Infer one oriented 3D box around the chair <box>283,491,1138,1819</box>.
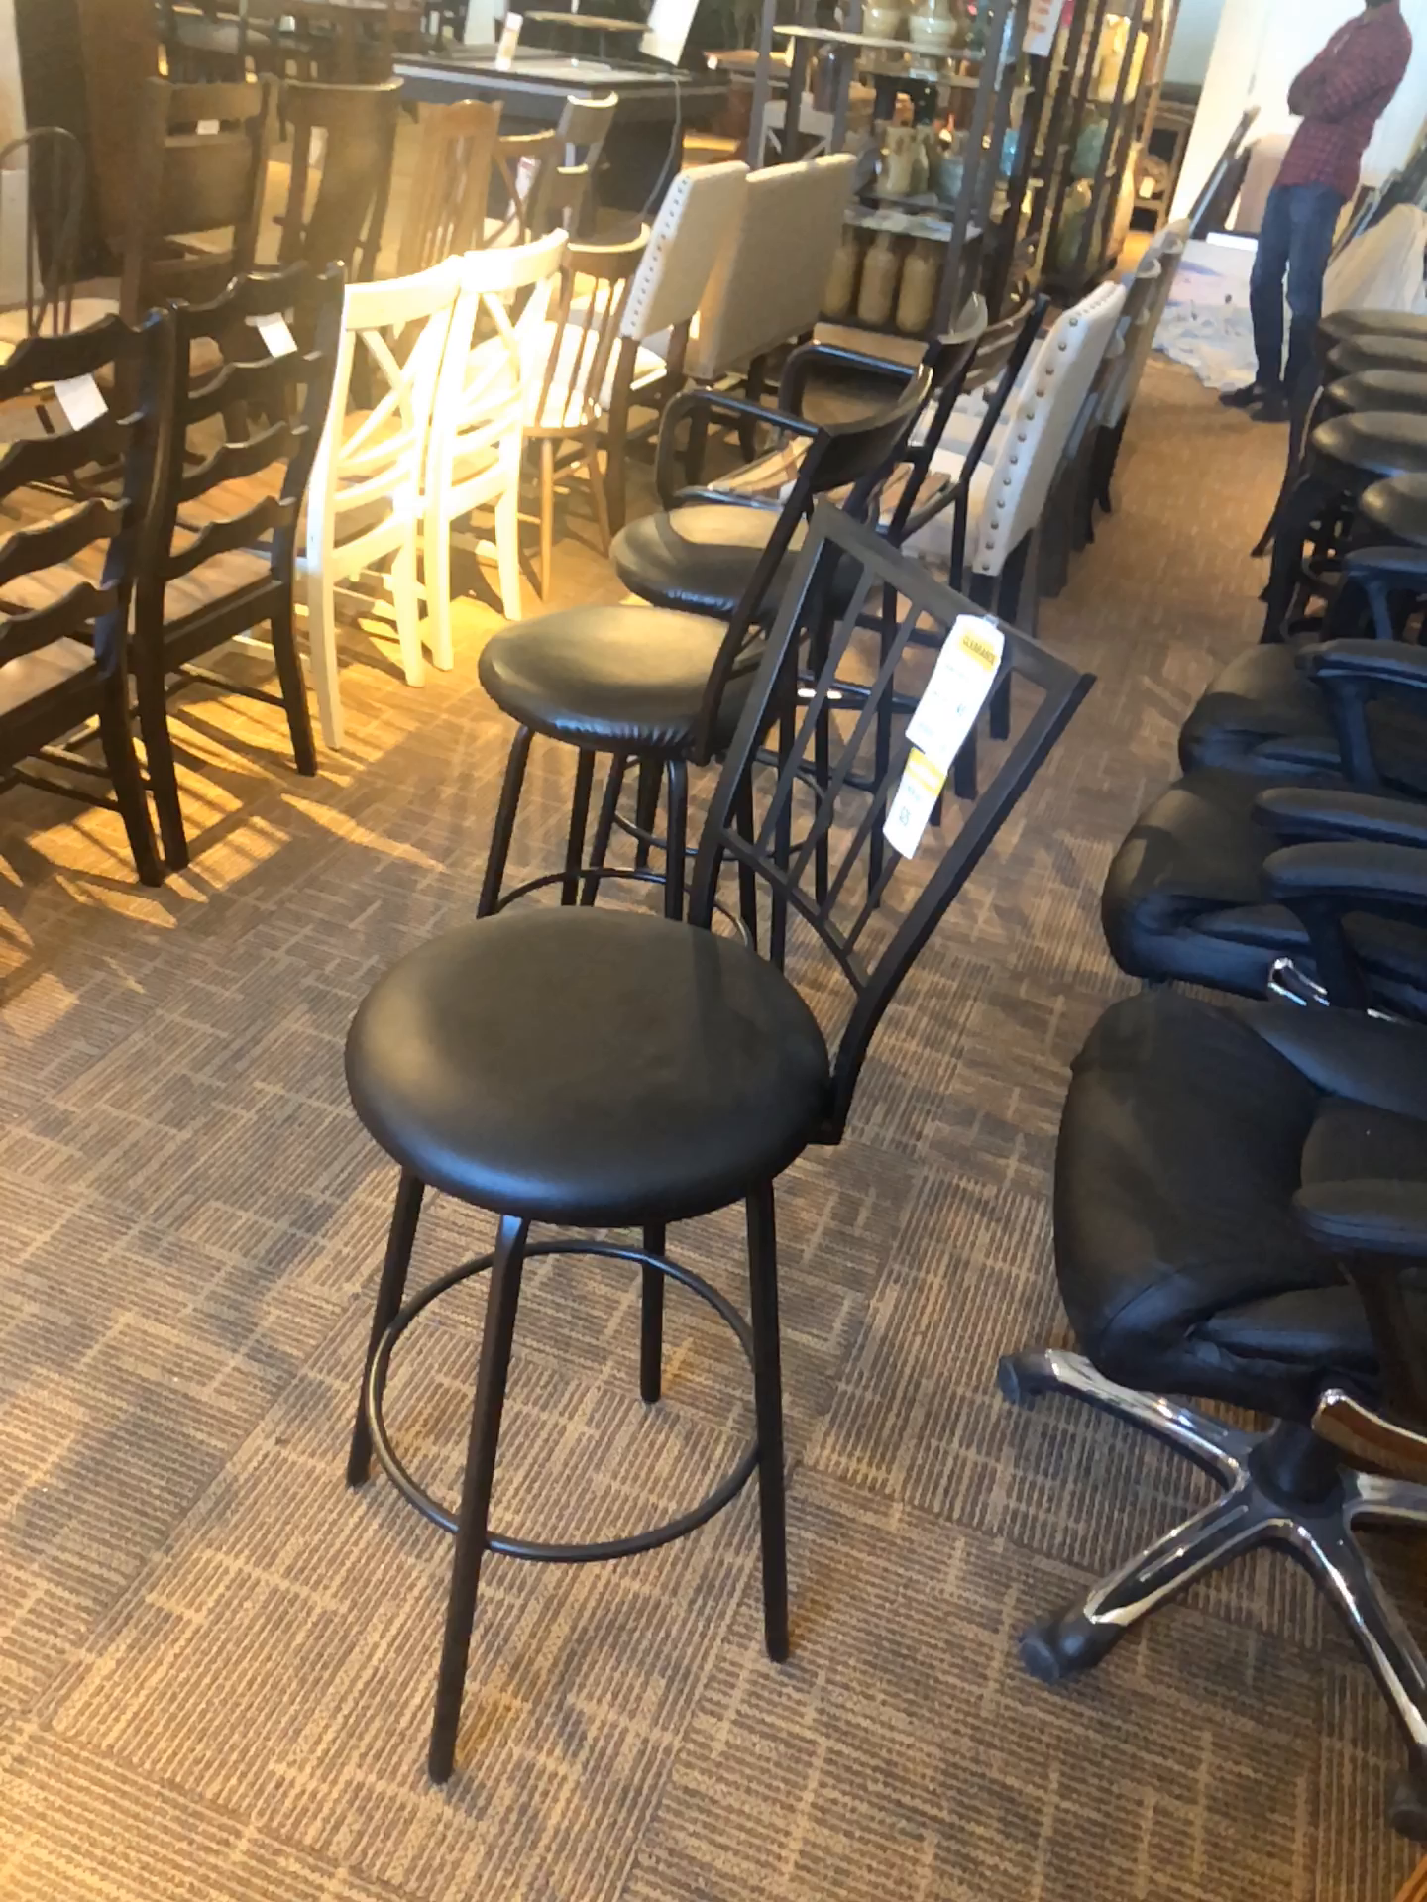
[{"bbox_3d":[-0.082,0.193,1.403,0.481,1.074,0.432,-9,36,-25],"label":"chair"}]
